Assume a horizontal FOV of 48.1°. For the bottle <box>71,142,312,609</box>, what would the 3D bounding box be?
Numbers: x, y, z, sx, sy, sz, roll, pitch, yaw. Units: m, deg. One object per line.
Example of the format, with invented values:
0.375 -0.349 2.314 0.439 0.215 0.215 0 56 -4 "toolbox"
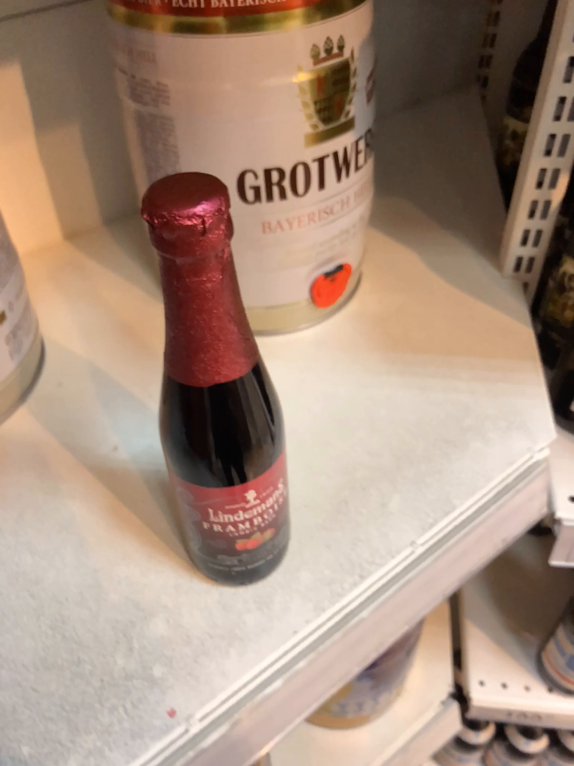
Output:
-0.029 0.013 0.271 0.058 0.199 0.058 -1 45 1 "bottle"
